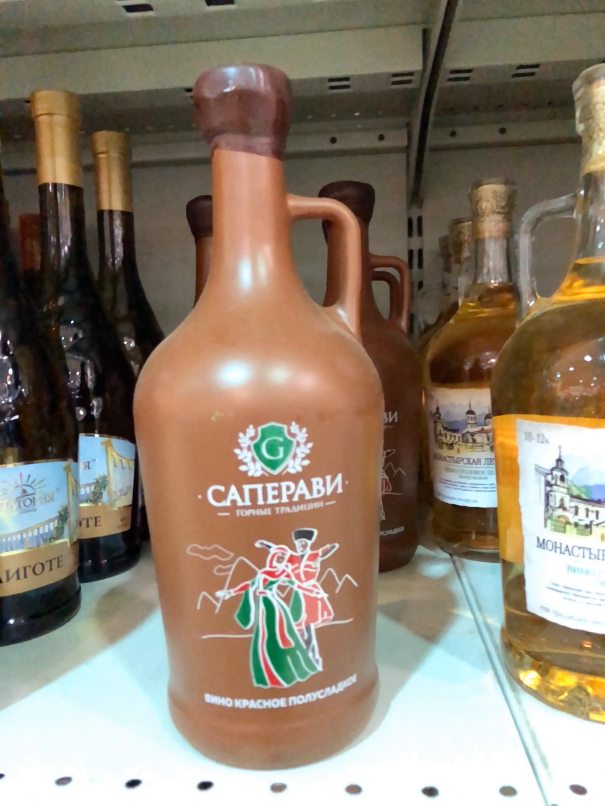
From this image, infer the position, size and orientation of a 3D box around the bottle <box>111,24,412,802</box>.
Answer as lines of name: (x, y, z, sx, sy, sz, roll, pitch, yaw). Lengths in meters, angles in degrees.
bottle: (-0.017, 0.002, 0.263, 0.090, 0.250, 0.090, -2, 4, 0)
